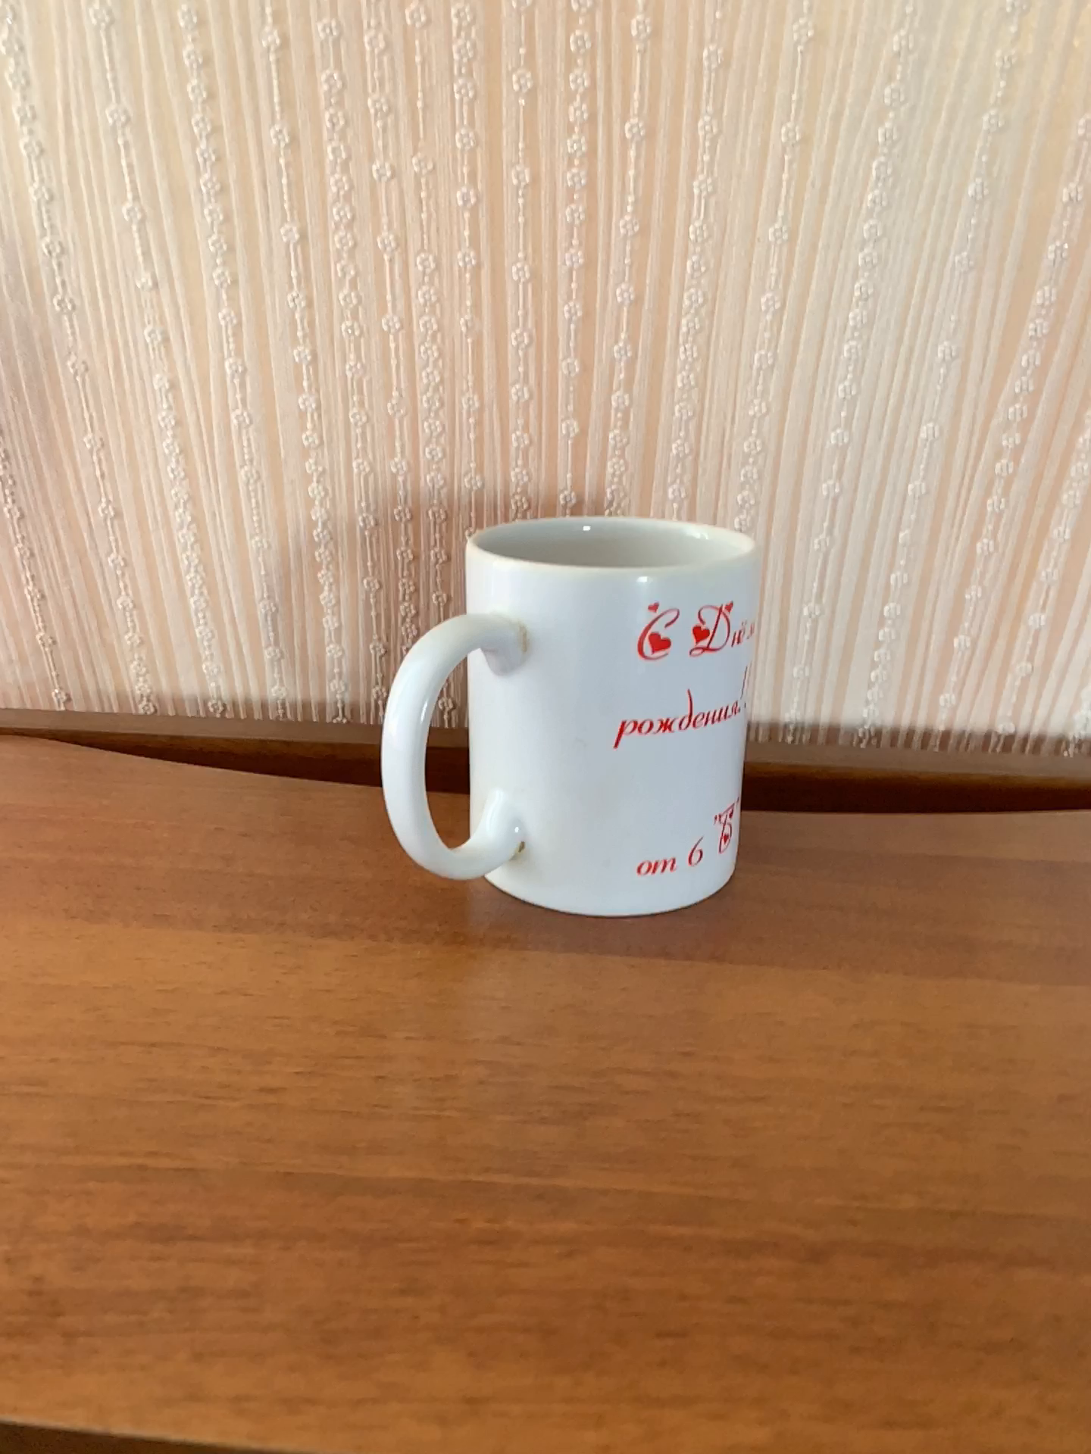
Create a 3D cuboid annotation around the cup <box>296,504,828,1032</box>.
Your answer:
[{"bbox_3d":[0.006,0.000,0.316,0.117,0.105,0.082,-15,24,-39],"label":"cup"}]
